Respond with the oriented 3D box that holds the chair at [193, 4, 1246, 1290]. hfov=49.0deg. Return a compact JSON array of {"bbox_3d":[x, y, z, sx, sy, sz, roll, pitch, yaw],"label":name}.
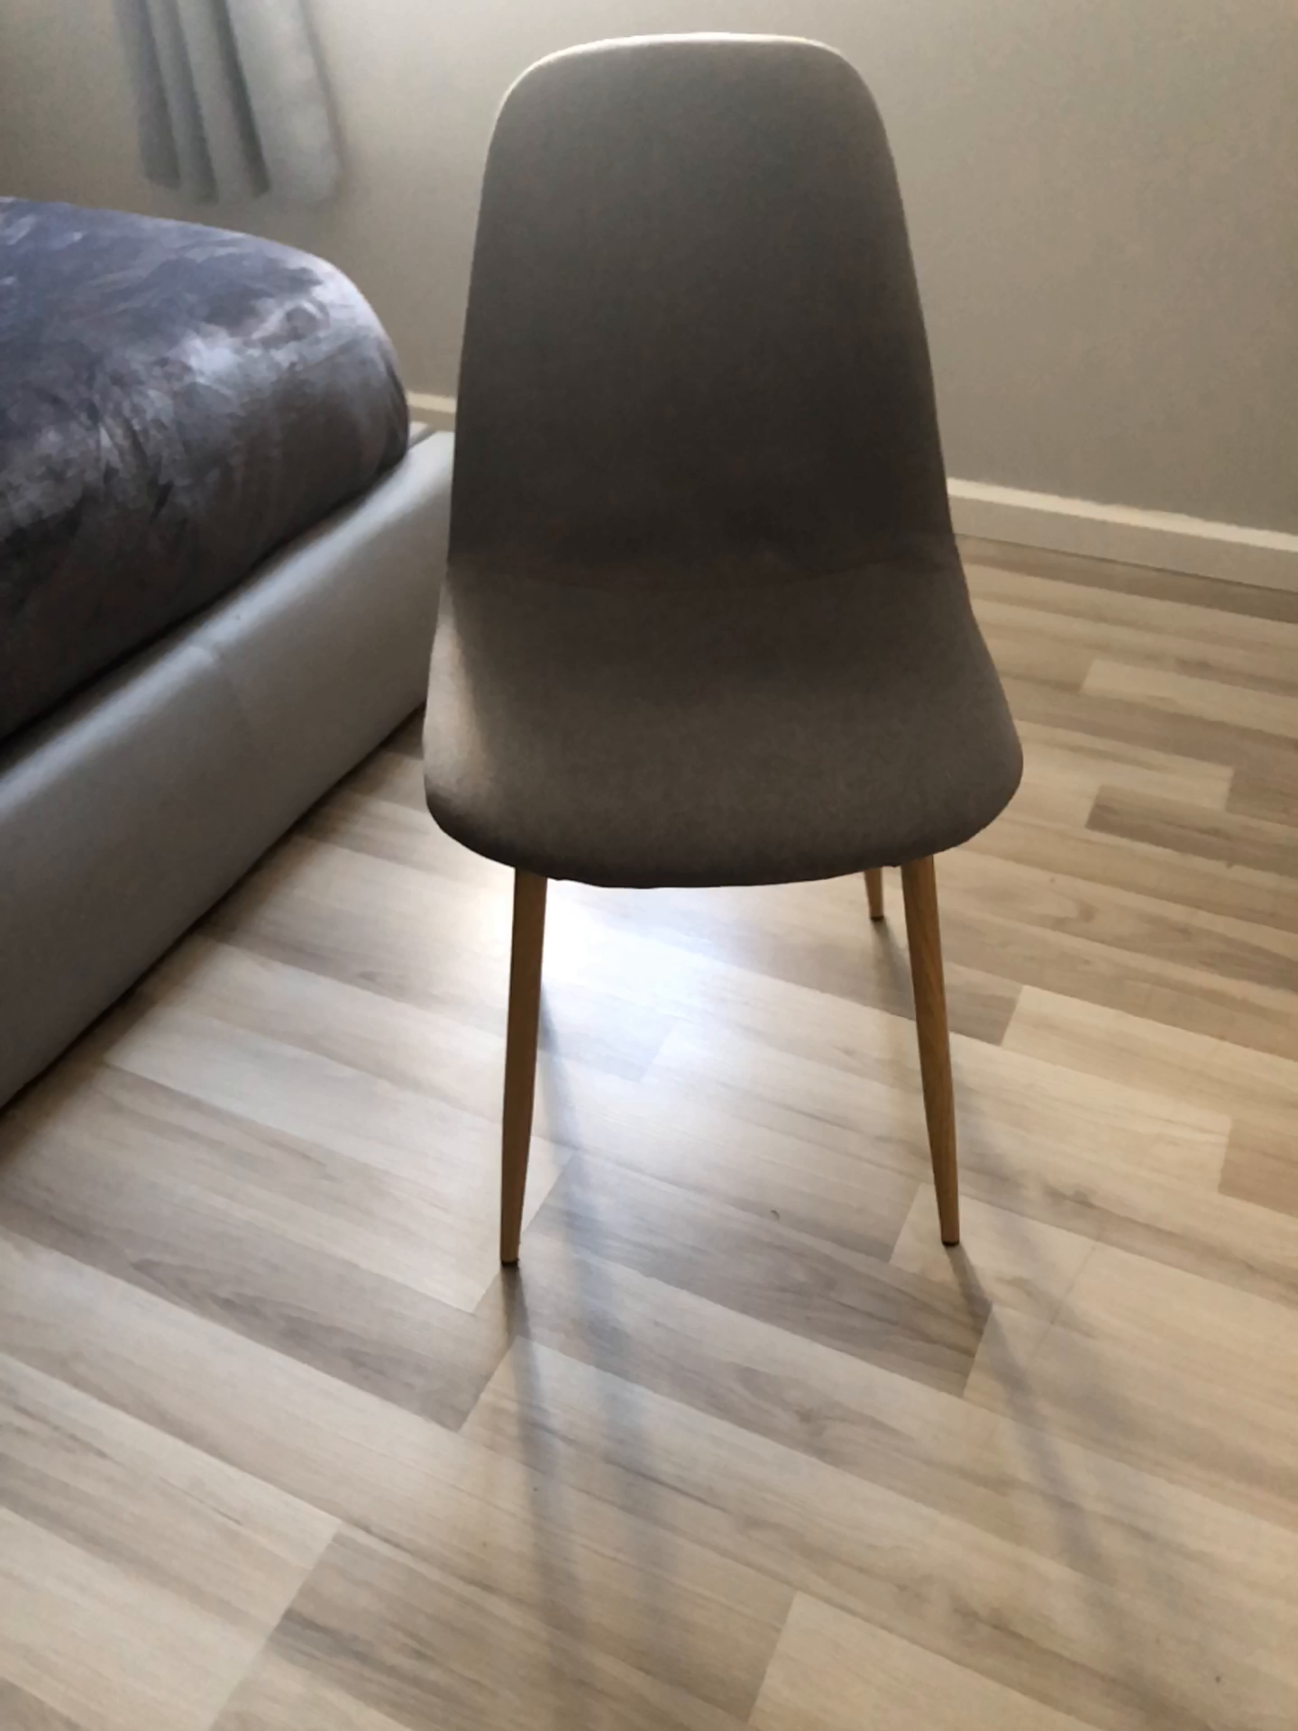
[{"bbox_3d":[0.037,-0.158,1.105,0.470,0.785,0.574,-2,39,0],"label":"chair"}]
